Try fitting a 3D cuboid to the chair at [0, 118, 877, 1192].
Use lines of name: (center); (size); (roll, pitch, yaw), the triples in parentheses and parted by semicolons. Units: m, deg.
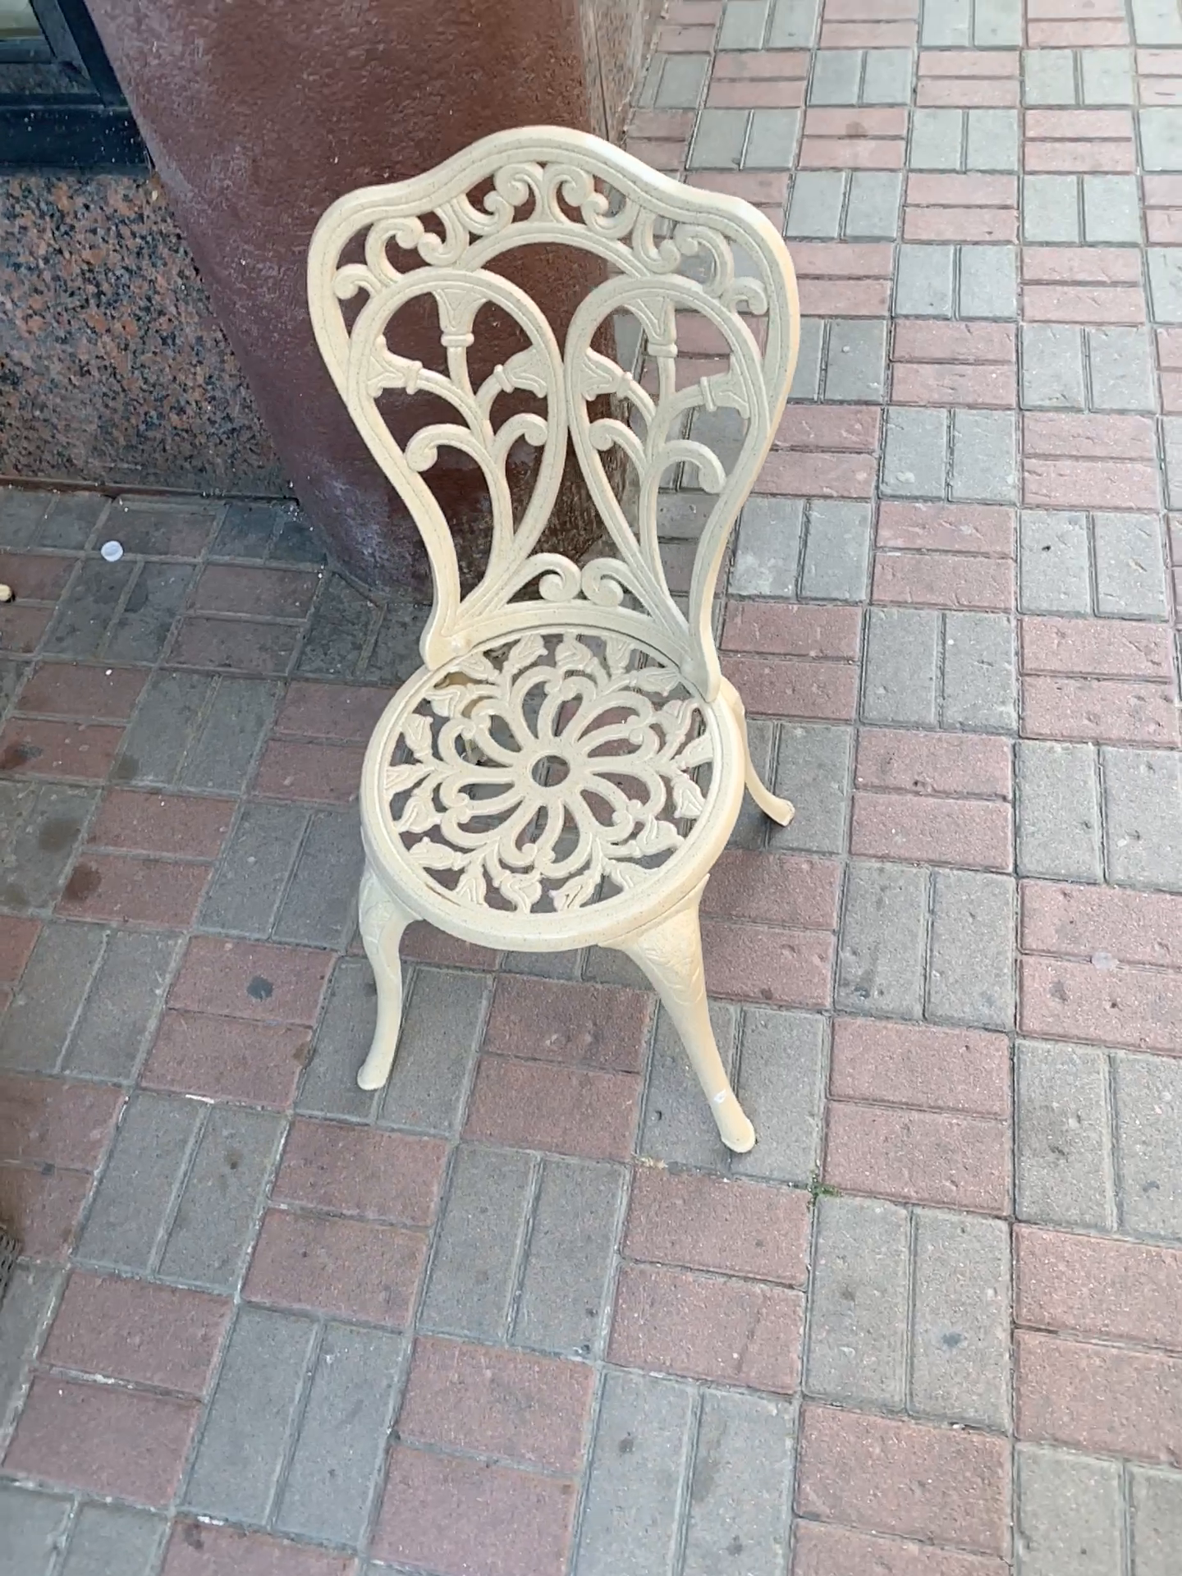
chair: (-0.045, -0.054, 1.090); (0.480, 0.798, 0.551); (7, 59, 11)
